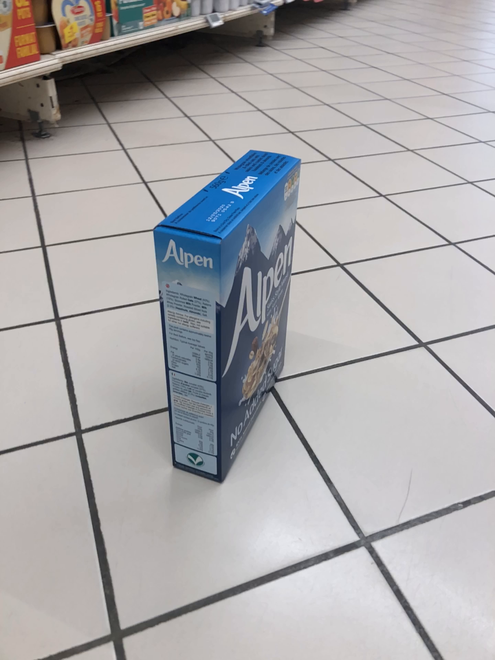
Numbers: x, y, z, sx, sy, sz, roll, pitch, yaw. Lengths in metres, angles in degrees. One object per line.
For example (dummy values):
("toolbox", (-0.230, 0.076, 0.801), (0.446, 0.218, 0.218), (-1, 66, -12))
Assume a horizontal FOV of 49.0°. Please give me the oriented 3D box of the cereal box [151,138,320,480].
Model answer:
("cereal box", (-0.002, -0.021, 0.471), (0.060, 0.229, 0.181), (14, 38, 17))
